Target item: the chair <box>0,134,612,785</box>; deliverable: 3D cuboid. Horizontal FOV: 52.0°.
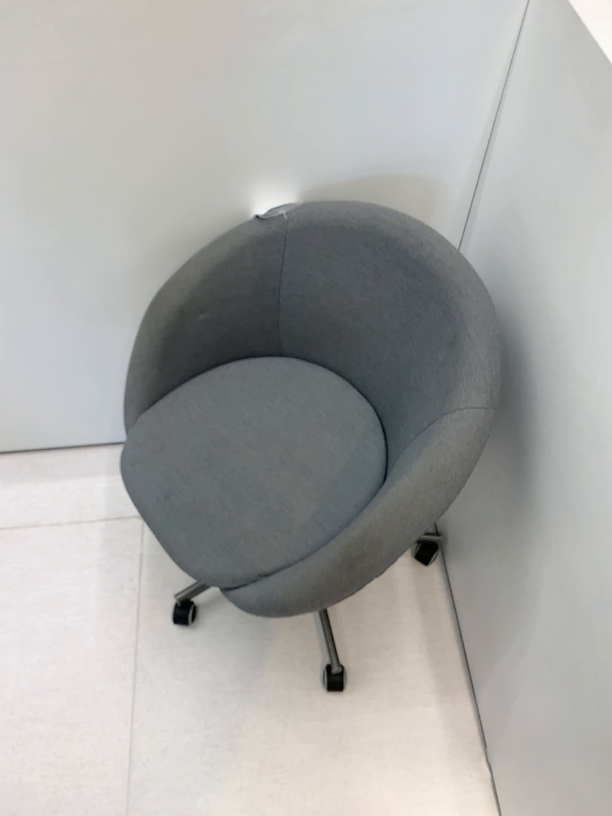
[{"bbox_3d":[0.017,0.114,1.286,0.831,0.768,0.721,-38,65,-23],"label":"chair"}]
